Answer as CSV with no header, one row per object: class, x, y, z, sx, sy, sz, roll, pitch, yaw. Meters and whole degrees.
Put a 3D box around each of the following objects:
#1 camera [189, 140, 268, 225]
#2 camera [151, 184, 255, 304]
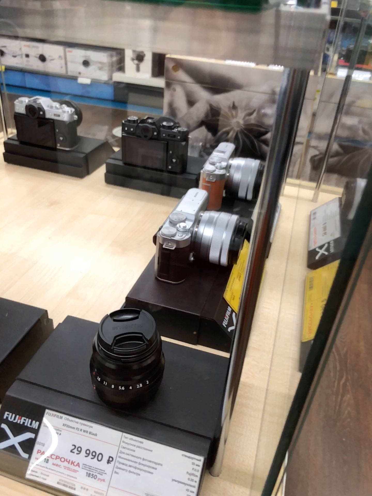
camera,0.069,-0.106,0.642,0.088,0.072,0.129,13,34,12
camera,0.023,-0.010,0.485,0.088,0.072,0.121,13,34,12
